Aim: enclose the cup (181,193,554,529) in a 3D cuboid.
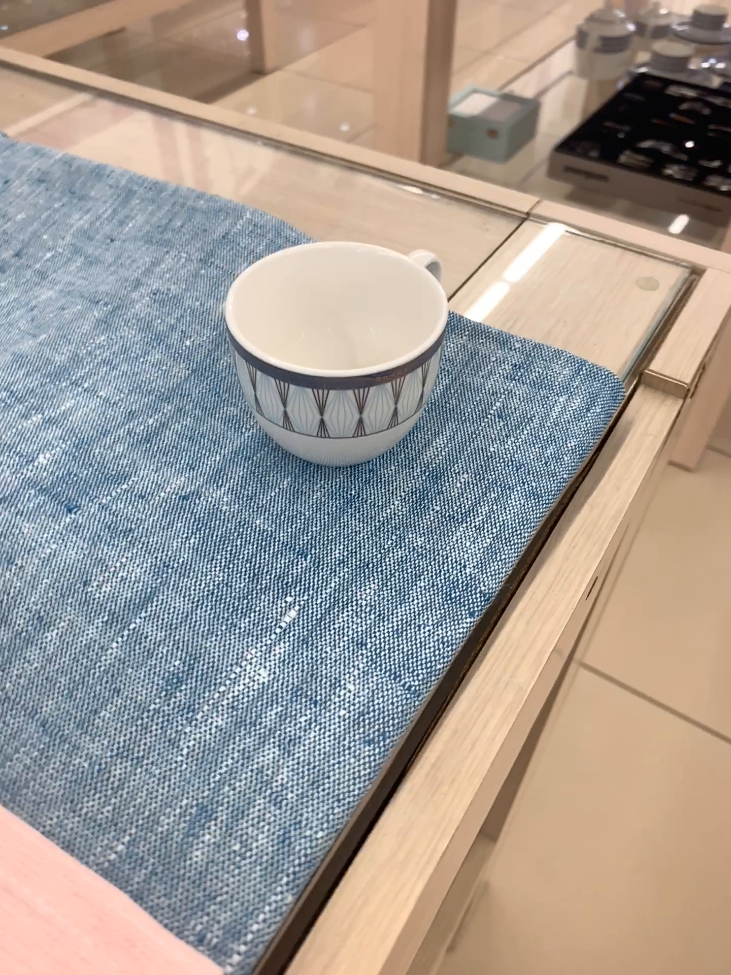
[{"bbox_3d":[0.004,-0.044,0.231,0.070,0.040,0.090,24,51,20],"label":"cup"}]
